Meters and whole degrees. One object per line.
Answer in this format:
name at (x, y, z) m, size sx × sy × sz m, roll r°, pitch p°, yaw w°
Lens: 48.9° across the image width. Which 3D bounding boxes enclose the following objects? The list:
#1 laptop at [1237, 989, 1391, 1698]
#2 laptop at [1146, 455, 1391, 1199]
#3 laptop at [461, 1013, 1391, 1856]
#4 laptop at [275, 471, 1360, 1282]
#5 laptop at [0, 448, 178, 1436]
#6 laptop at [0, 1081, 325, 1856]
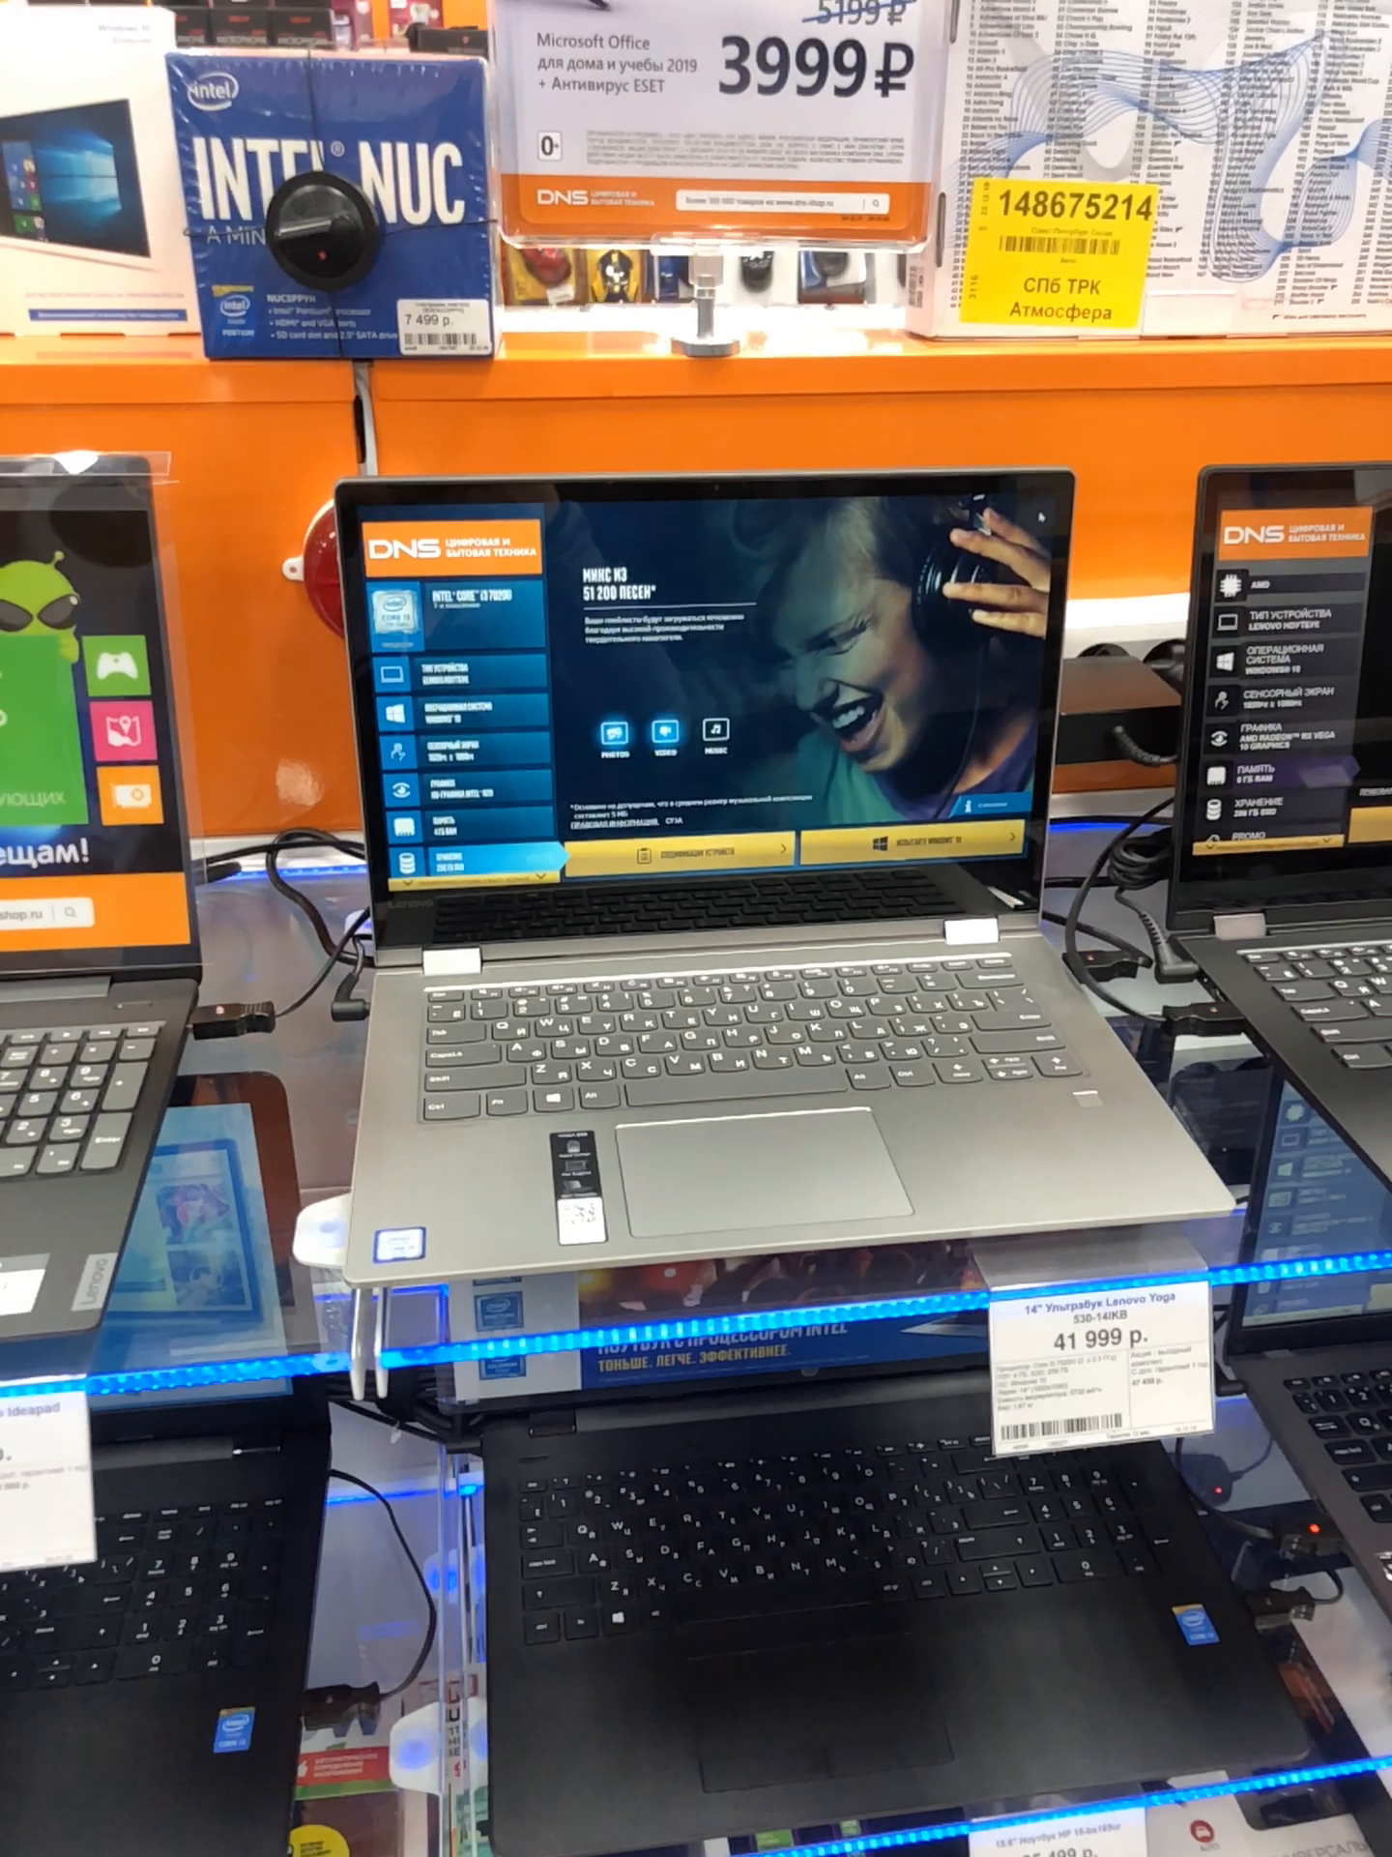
laptop at (0.490, 0.193, 0.772) m, size 0.308 × 0.213 × 0.238 m, roll -4°, pitch 27°, yaw -5°
laptop at (0.393, -0.059, 0.631) m, size 0.290 × 0.209 × 0.249 m, roll -4°, pitch 28°, yaw -6°
laptop at (0.081, 0.218, 0.724) m, size 0.367 × 0.207 × 0.264 m, roll -5°, pitch 29°, yaw -8°
laptop at (0.026, -0.040, 0.590) m, size 0.315 × 0.212 × 0.239 m, roll -3°, pitch 28°, yaw -7°
laptop at (-0.371, -0.027, 0.531) m, size 0.305 × 0.212 × 0.280 m, roll -3°, pitch 28°, yaw -12°
laptop at (-0.379, 0.247, 0.672) m, size 0.378 × 0.235 × 0.240 m, roll -4°, pitch 28°, yaw -6°
